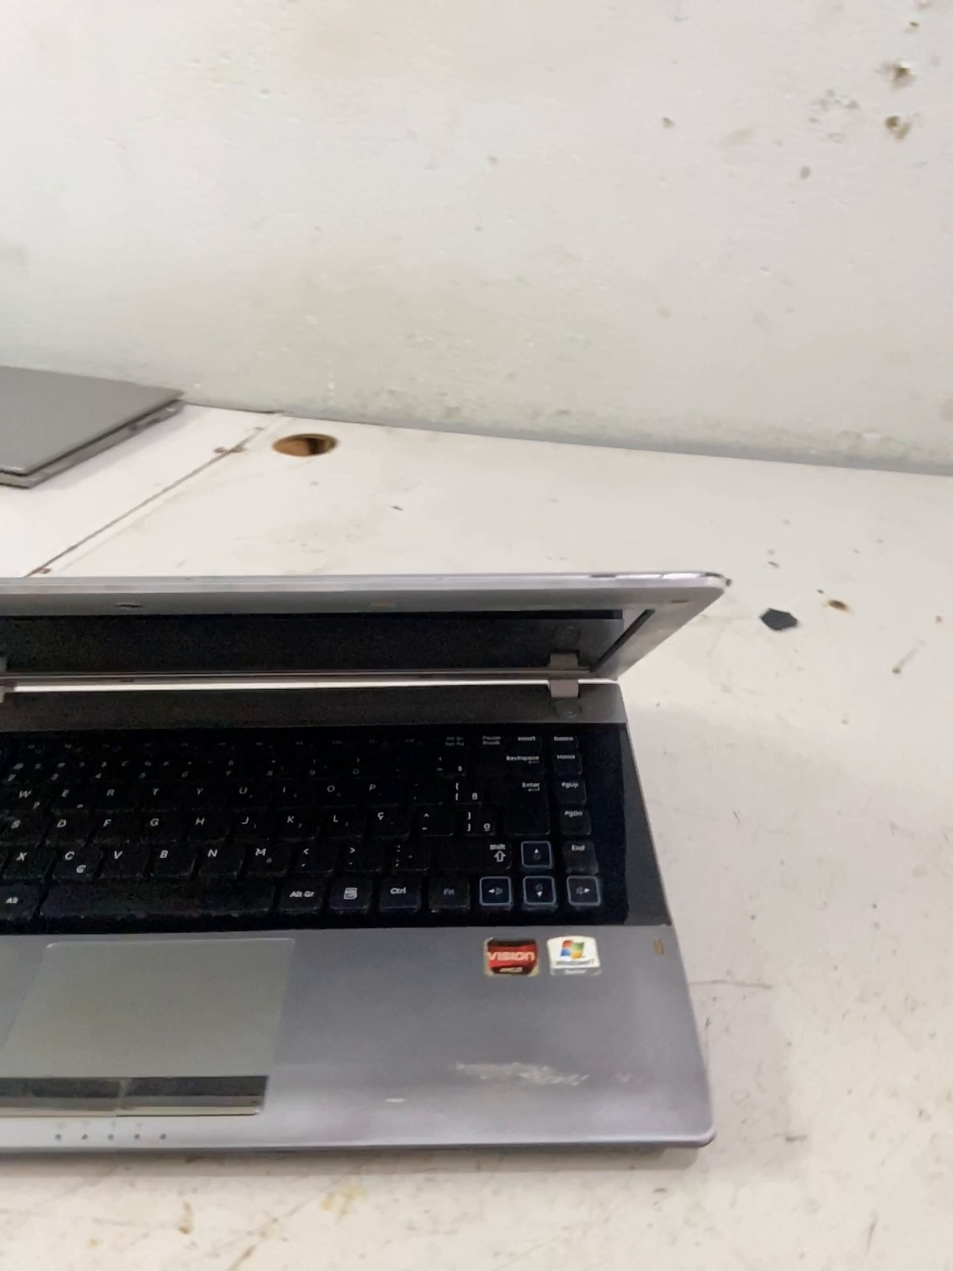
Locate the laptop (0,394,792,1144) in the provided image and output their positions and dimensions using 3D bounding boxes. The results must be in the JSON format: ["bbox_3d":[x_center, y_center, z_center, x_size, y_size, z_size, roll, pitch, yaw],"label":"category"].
[{"bbox_3d":[-0.100,0.025,0.361,0.344,0.150,0.234,-1,31,0],"label":"laptop"}]
